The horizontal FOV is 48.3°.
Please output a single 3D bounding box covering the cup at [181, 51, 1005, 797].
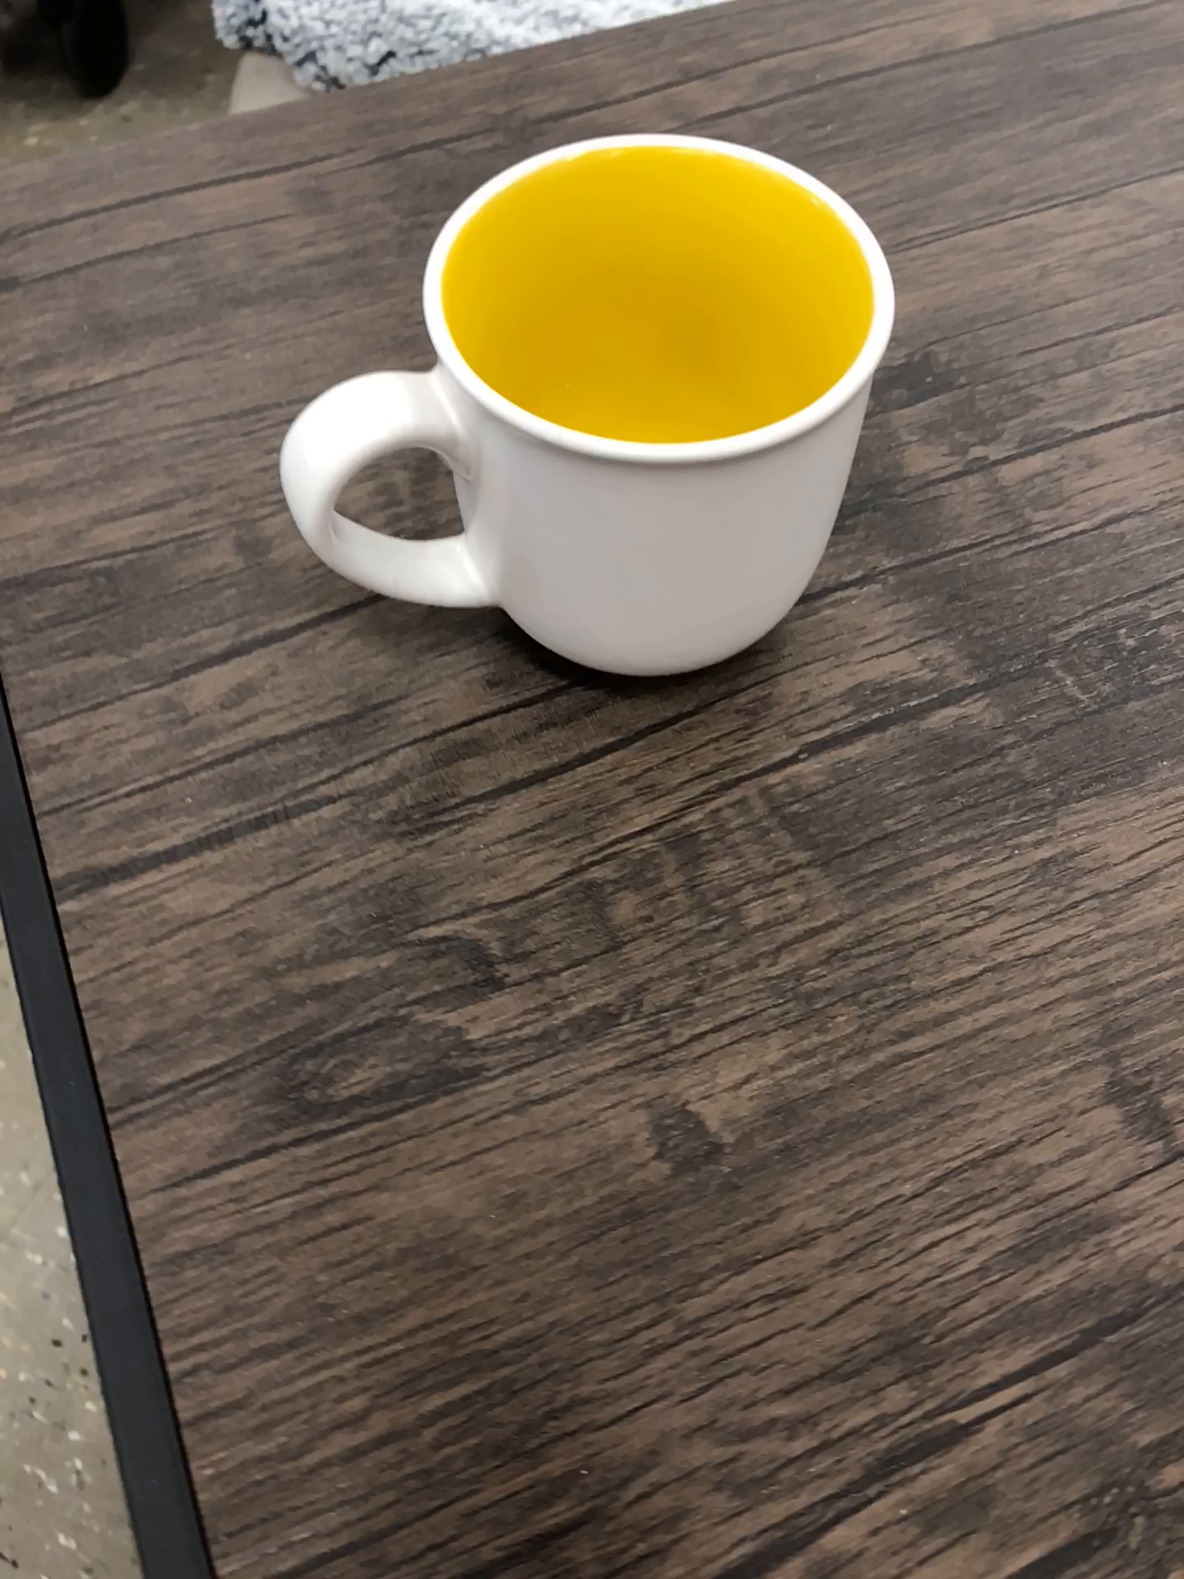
[{"bbox_3d":[-0.003,-0.075,0.282,0.130,0.100,0.080,-17,61,-10],"label":"cup"}]
